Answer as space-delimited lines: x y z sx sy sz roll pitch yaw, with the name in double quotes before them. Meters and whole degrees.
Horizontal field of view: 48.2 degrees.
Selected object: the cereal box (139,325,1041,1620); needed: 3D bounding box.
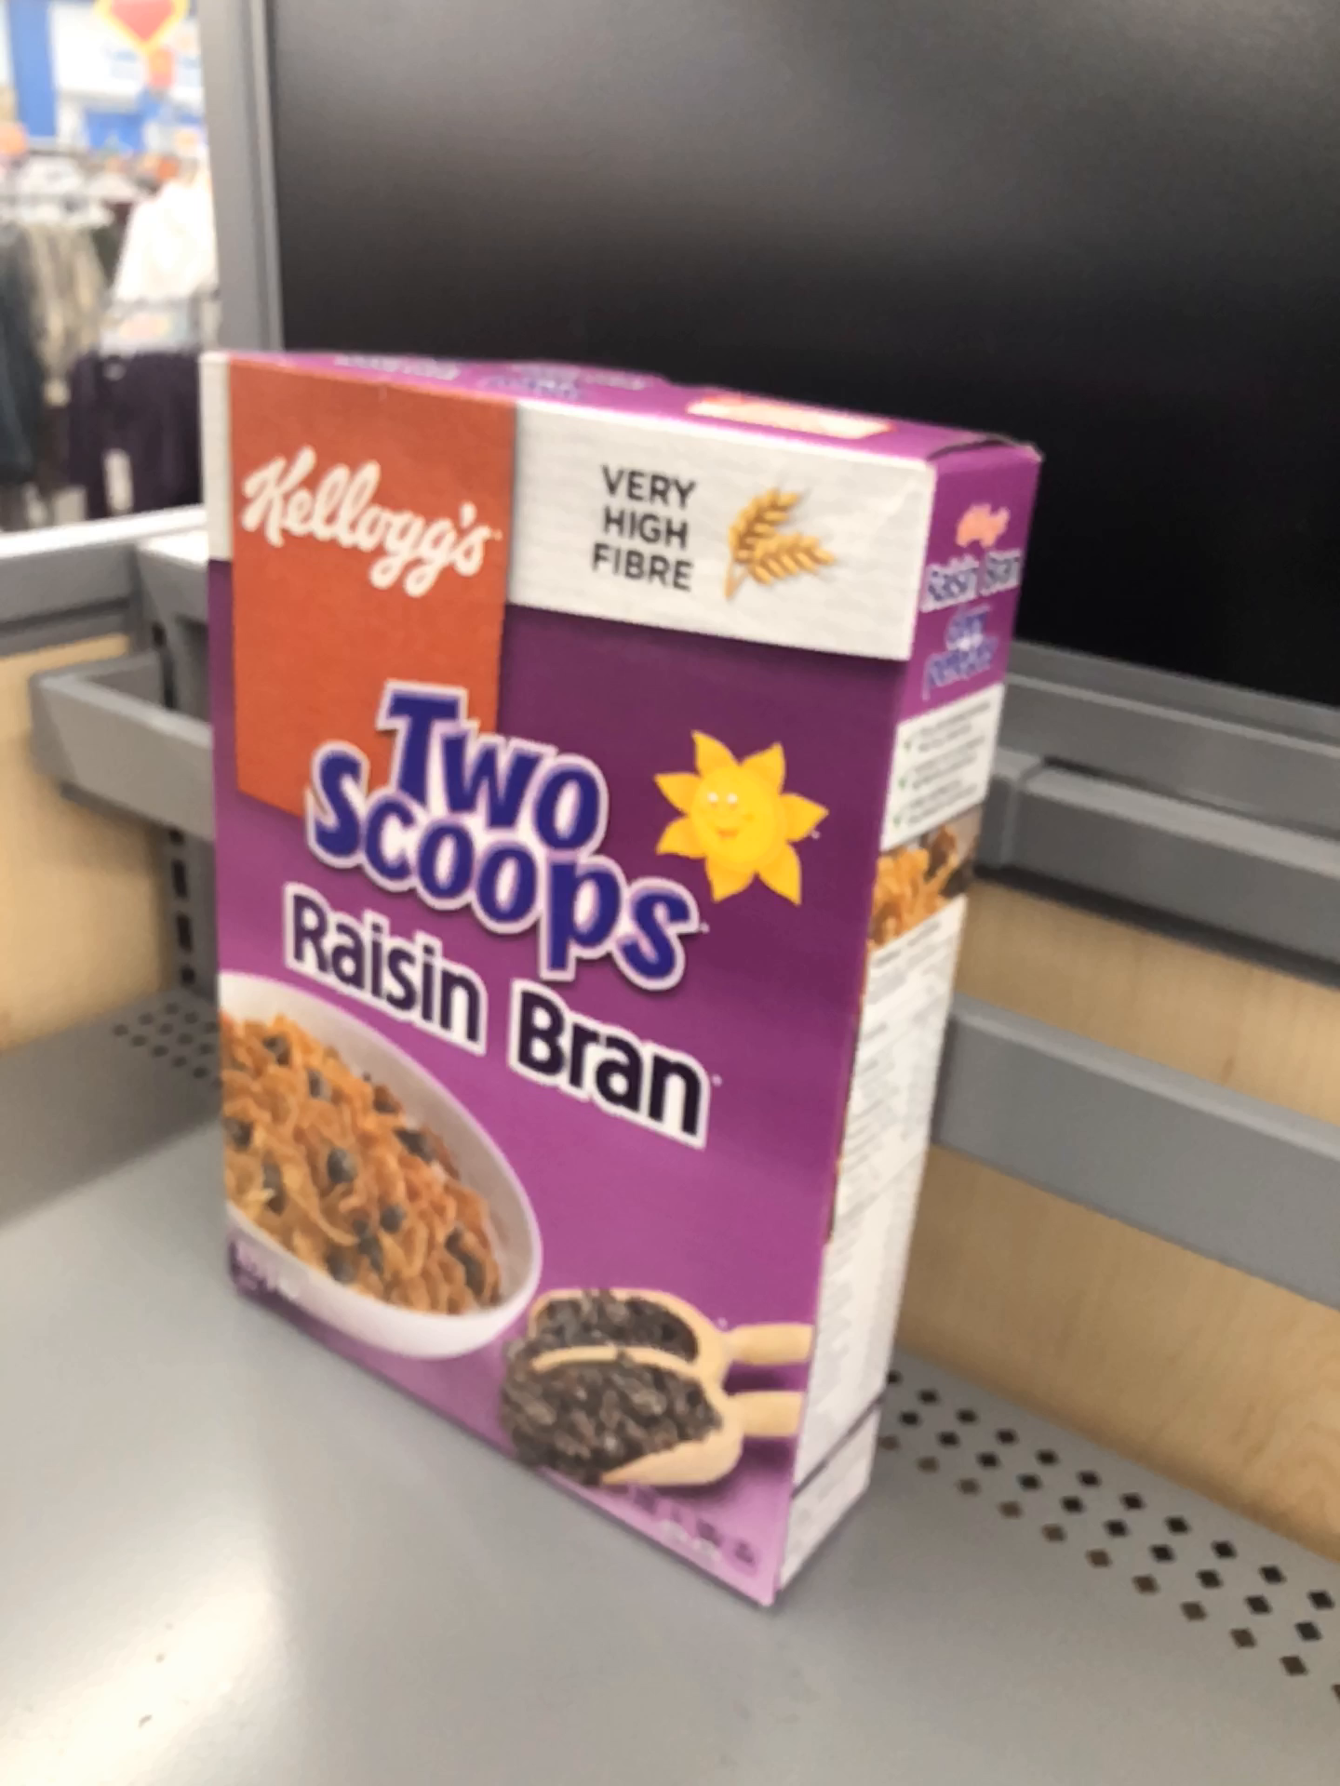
"cereal box" -0.039 0.011 0.376 0.211 0.269 0.050 19 25 30
